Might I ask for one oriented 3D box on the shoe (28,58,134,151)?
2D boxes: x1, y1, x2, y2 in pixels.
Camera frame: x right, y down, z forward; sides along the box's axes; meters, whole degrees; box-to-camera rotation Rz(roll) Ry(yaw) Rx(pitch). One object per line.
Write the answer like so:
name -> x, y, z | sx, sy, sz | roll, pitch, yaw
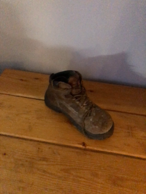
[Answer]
shoe -> 0.015, 0.015, 0.520 | 0.290, 0.130, 0.130 | 30, 54, 20
